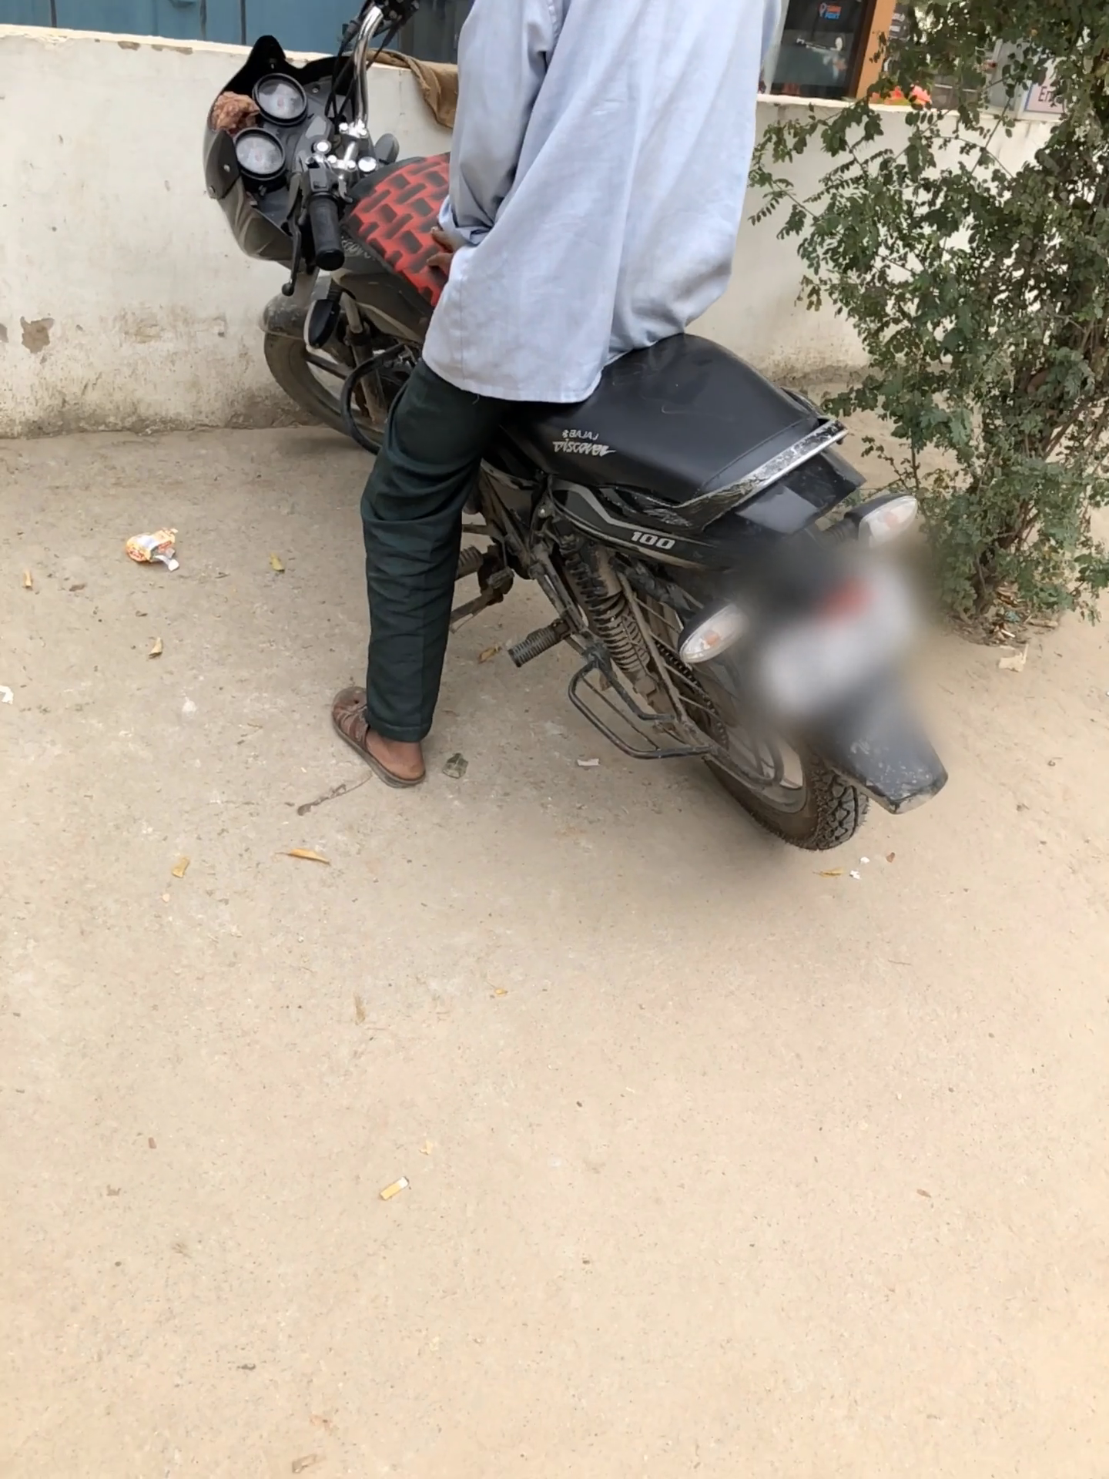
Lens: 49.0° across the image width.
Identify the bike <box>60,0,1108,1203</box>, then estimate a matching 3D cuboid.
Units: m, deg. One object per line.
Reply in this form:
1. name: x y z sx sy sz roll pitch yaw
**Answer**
1. bike: -0.107 -0.480 1.912 0.788 1.332 1.501 -15 40 -32
